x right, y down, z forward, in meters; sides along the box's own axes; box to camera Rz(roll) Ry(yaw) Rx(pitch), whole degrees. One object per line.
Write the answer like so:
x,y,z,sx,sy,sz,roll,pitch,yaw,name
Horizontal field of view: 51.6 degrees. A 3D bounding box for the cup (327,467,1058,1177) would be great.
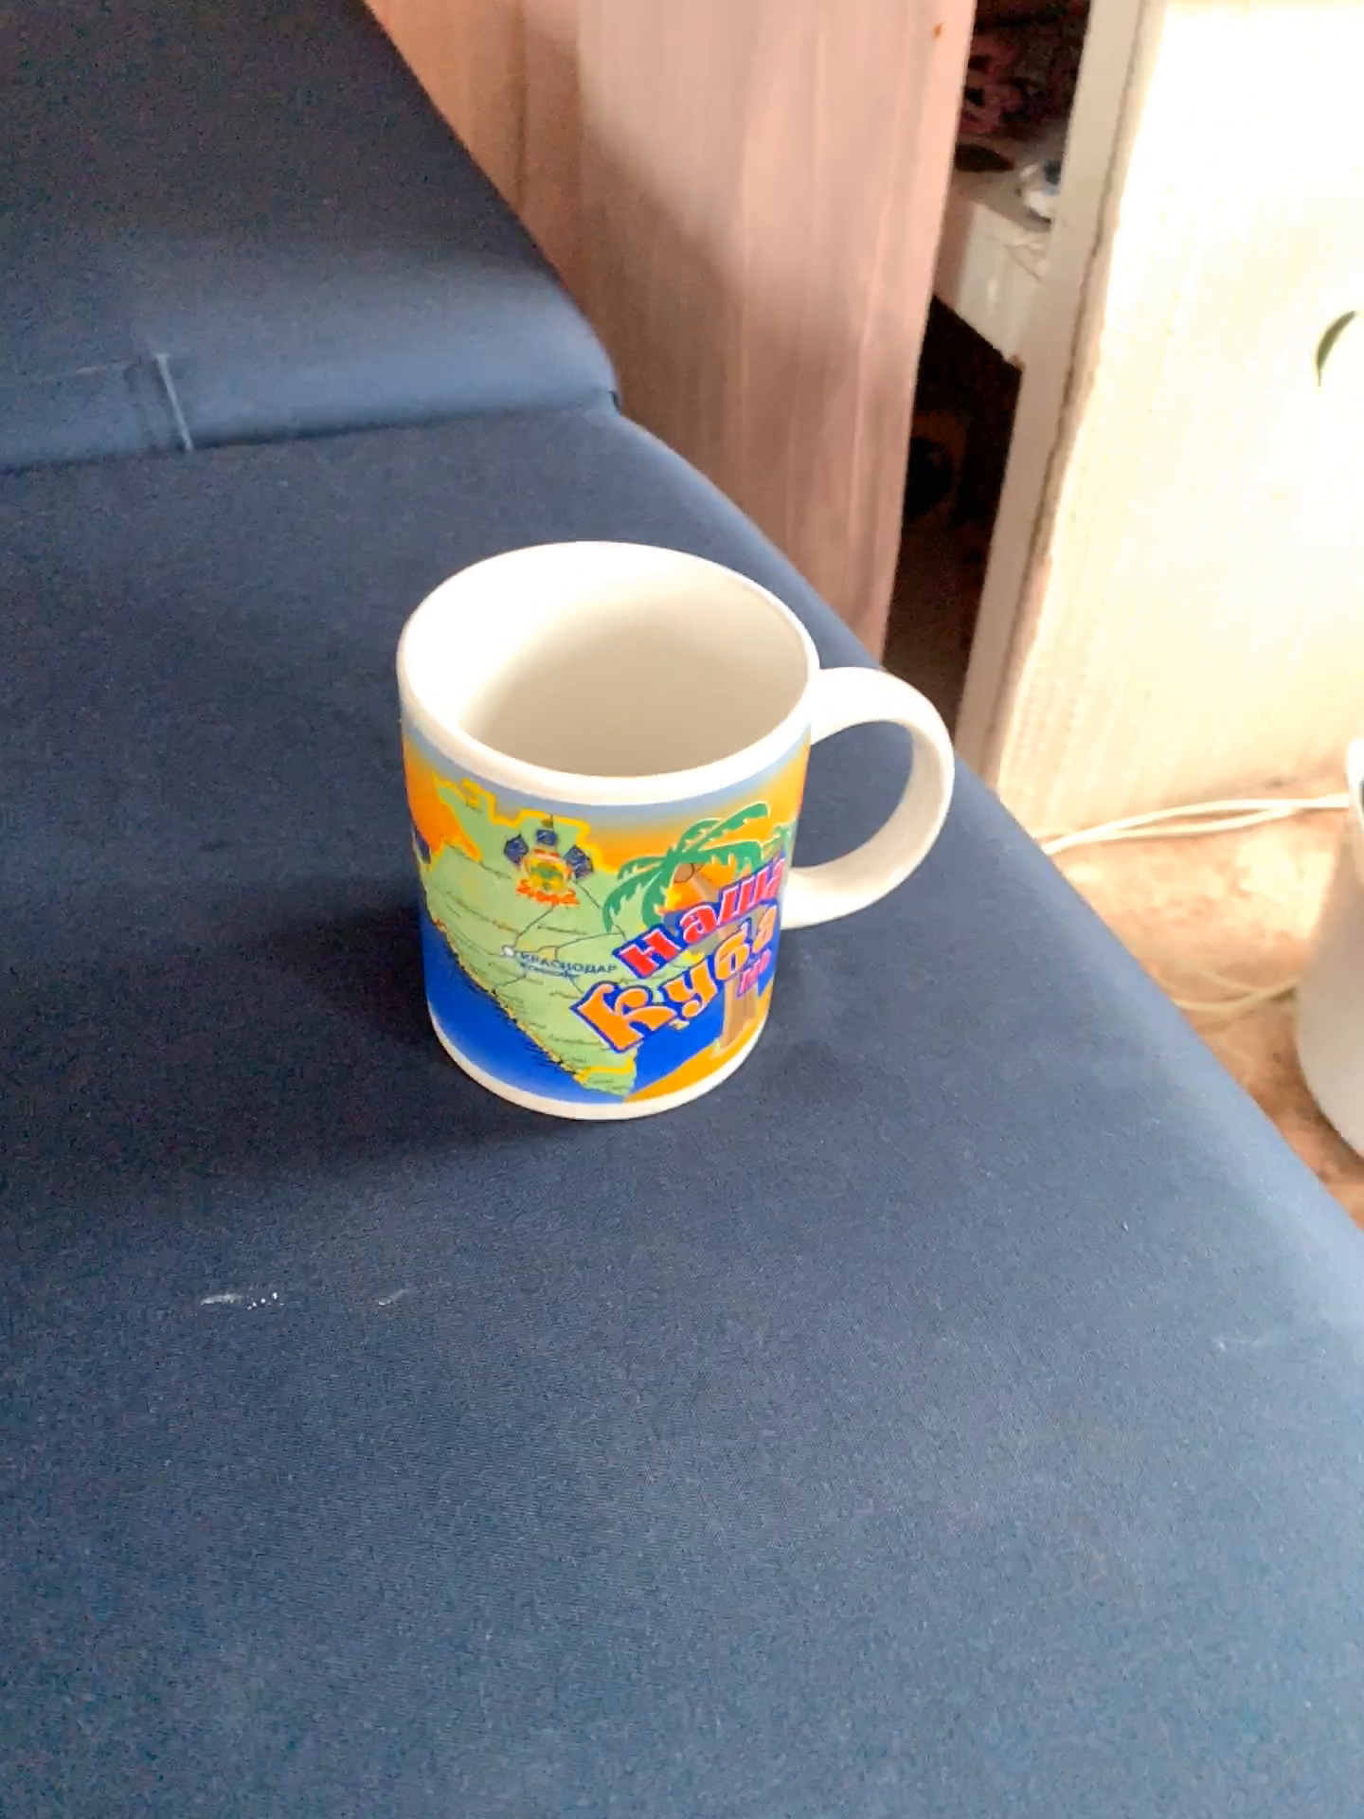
-0.003,-0.022,0.311,0.120,0.099,0.091,-13,47,-14,cup
